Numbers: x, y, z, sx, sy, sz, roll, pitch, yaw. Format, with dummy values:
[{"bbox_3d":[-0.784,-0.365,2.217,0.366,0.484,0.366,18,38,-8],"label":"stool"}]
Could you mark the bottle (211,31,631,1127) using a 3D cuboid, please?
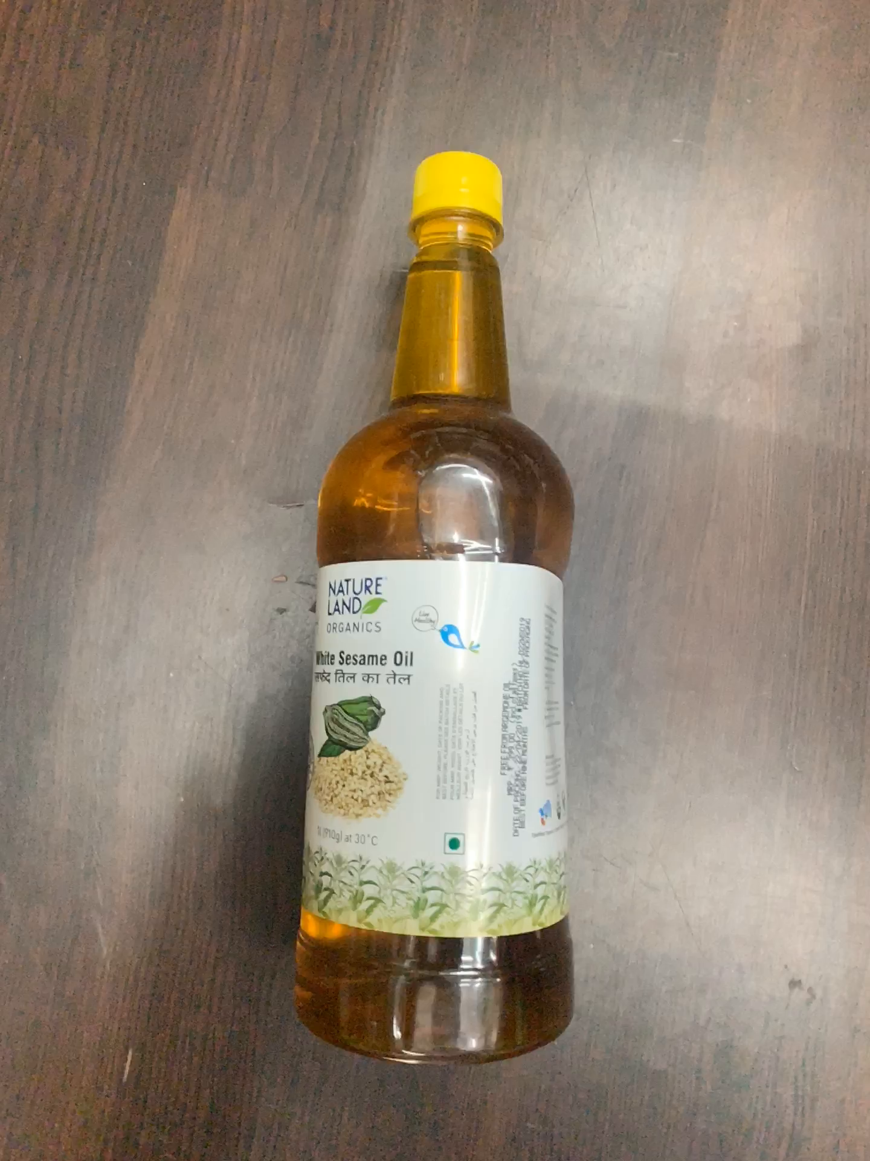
[{"bbox_3d":[0.001,-0.003,0.278,0.080,0.090,0.270,-5,79,42],"label":"bottle"}]
